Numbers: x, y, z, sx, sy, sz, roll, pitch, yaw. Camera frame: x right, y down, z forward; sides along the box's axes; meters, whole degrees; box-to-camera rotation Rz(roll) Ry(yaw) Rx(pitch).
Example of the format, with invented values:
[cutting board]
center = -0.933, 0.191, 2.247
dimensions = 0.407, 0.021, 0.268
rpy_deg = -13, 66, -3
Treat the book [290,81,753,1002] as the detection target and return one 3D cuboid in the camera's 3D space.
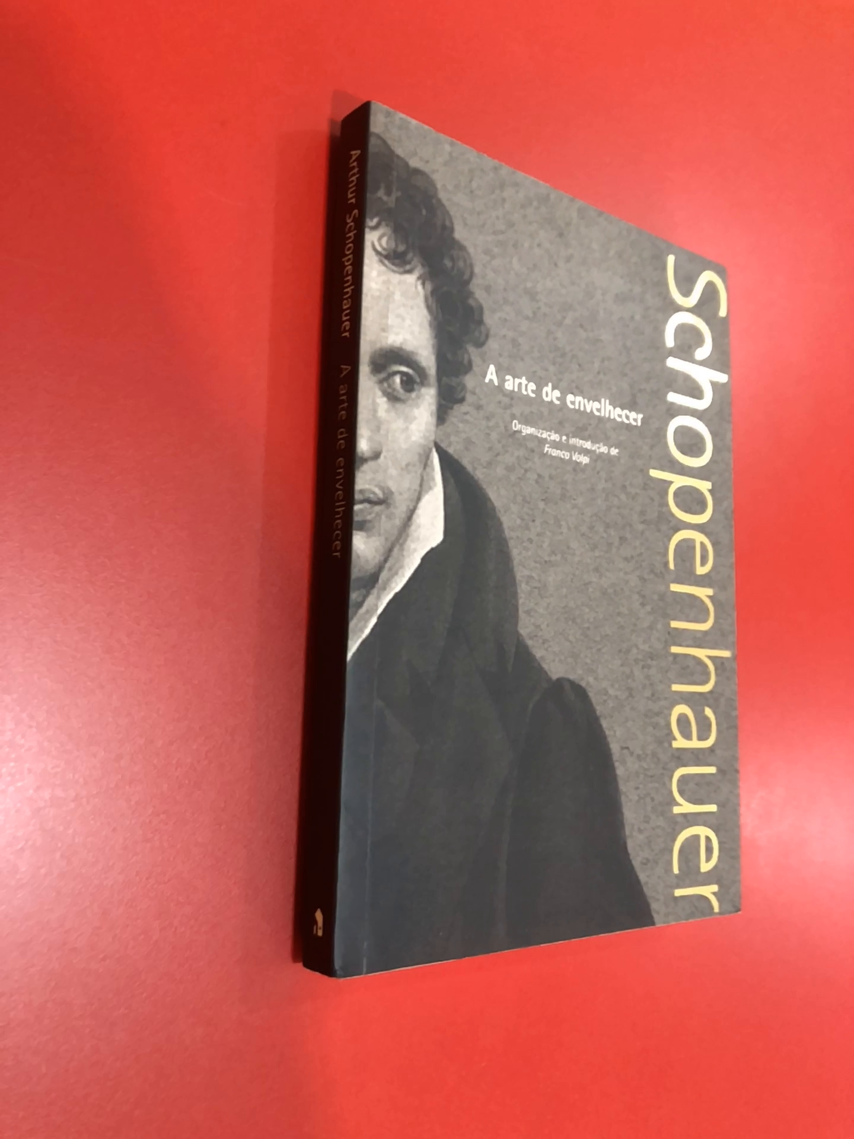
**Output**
[book]
center = 0.035, -0.004, 0.247
dimensions = 0.137, 0.017, 0.196
rpy_deg = 8, 81, -36
